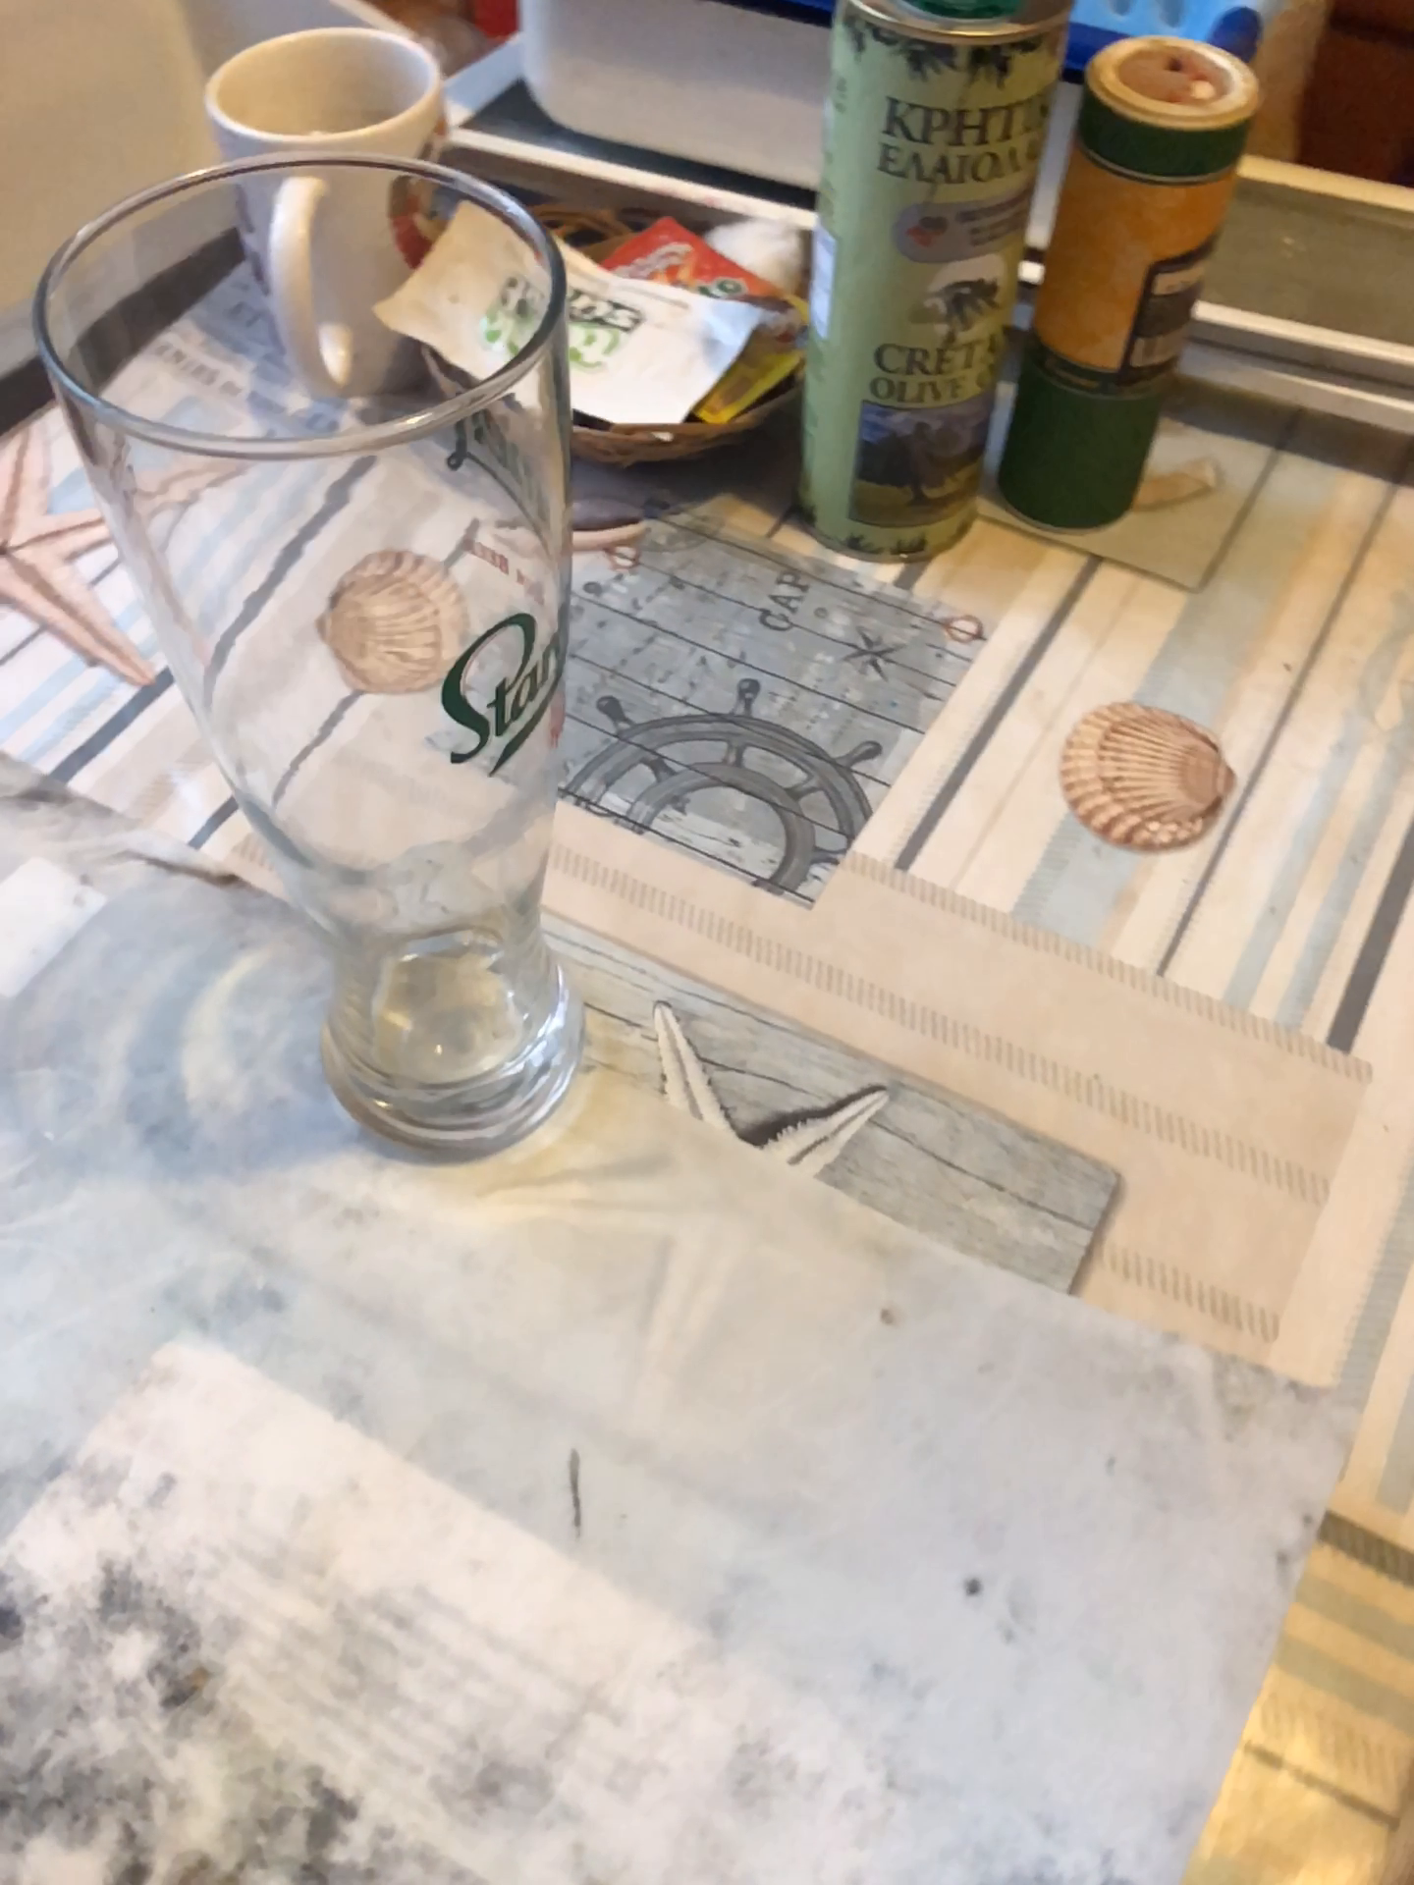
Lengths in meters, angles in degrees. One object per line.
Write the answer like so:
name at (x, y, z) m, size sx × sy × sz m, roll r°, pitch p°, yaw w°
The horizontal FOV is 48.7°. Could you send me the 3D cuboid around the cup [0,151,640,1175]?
cup at (-0.070, -0.041, 0.322) m, size 0.098 × 0.192 × 0.089 m, roll 5°, pitch 54°, yaw 3°
